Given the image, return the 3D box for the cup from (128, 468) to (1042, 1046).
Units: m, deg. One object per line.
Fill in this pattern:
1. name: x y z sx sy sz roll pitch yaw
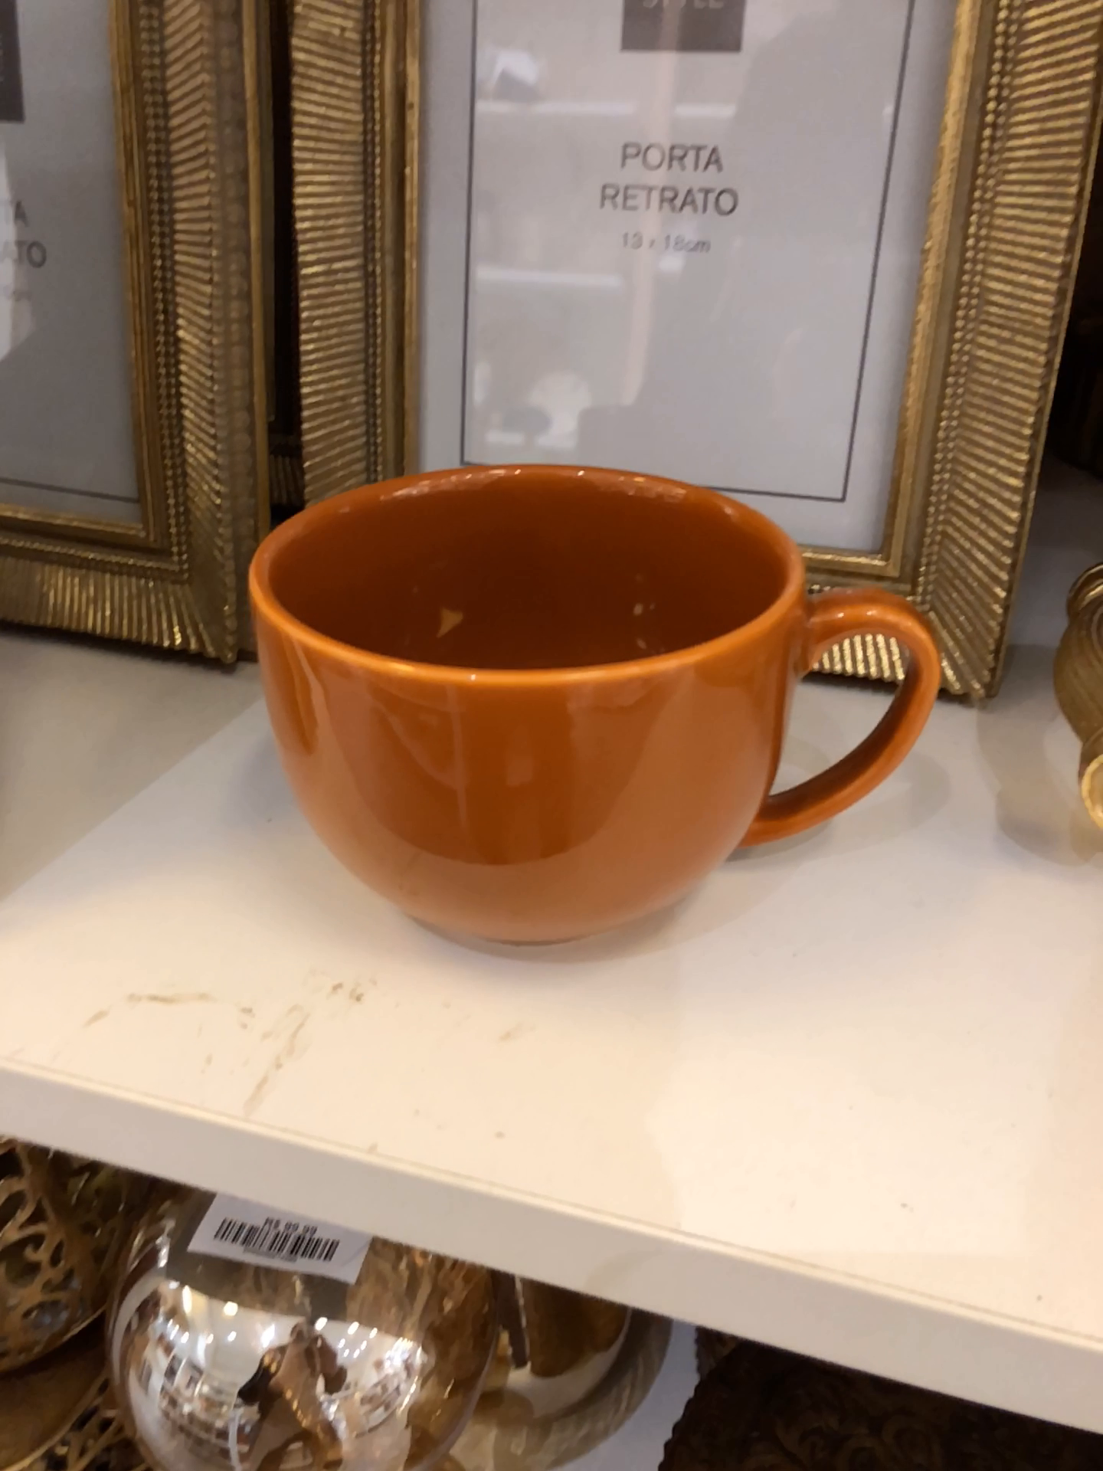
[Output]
1. cup: 0.006 -0.002 0.215 0.120 0.060 0.091 1 32 3
